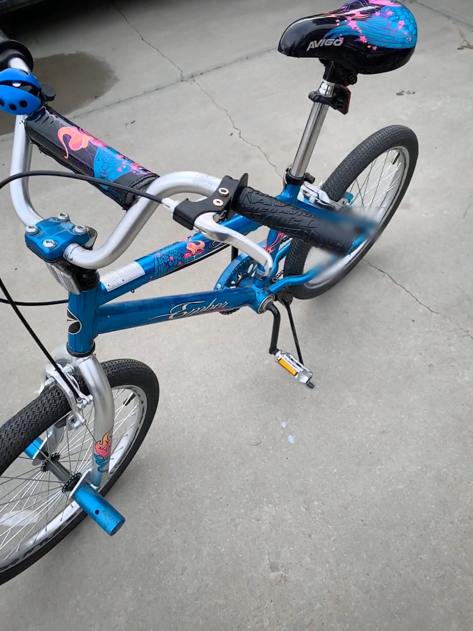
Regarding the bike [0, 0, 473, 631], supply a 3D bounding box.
[{"bbox_3d":[0.050,-0.047,0.880,0.683,0.837,1.386,33,59,29],"label":"bike"}]
